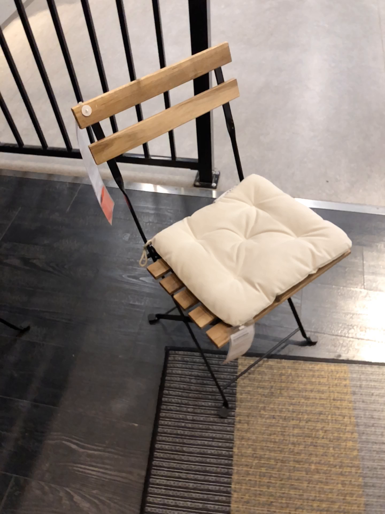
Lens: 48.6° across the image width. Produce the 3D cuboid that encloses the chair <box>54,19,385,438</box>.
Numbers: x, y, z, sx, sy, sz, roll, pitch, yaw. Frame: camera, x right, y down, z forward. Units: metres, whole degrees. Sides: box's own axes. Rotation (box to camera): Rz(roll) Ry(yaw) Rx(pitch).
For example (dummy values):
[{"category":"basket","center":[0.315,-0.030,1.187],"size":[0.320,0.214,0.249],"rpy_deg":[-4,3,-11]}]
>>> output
[{"category":"chair","center":[0.095,-0.019,1.006],"size":[0.450,0.758,0.461],"rpy_deg":[-32,56,-19]}]
